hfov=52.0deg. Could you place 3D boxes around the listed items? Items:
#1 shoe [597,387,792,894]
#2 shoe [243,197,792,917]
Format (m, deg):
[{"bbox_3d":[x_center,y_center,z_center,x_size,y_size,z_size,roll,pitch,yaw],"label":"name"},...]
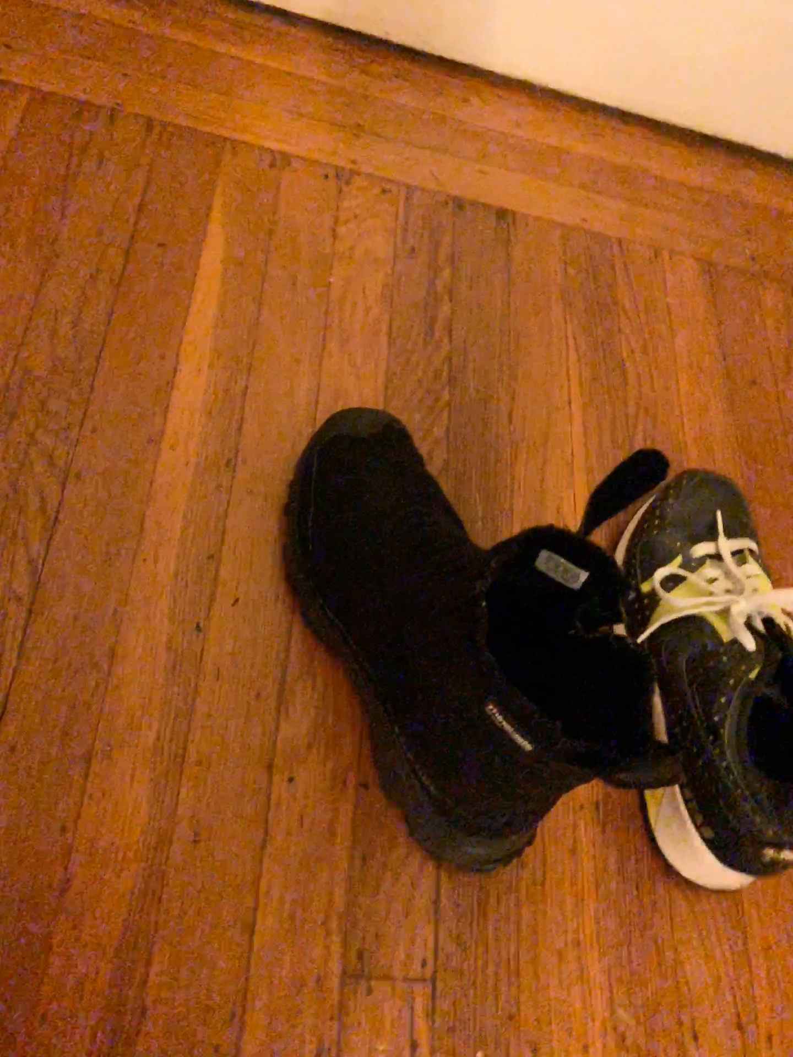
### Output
[{"bbox_3d":[0.222,0.068,0.511,0.120,0.100,0.291,5,64,-14],"label":"shoe"},{"bbox_3d":[0.048,0.027,0.461,0.160,0.239,0.310,-14,71,-22],"label":"shoe"}]
